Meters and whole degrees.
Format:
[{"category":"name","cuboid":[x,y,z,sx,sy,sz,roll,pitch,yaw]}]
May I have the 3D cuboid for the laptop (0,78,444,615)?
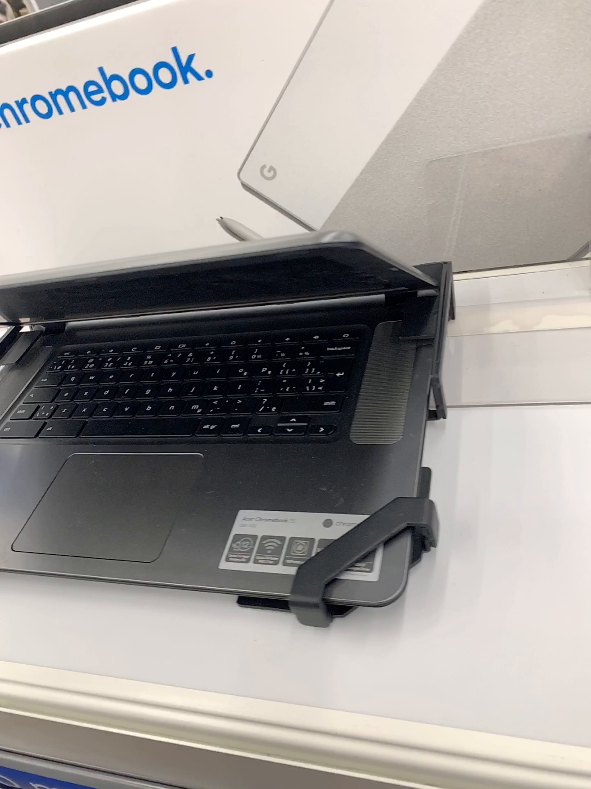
[{"category":"laptop","cuboid":[-0.096,-0.029,0.302,0.303,0.119,0.198,-2,42,22]}]
